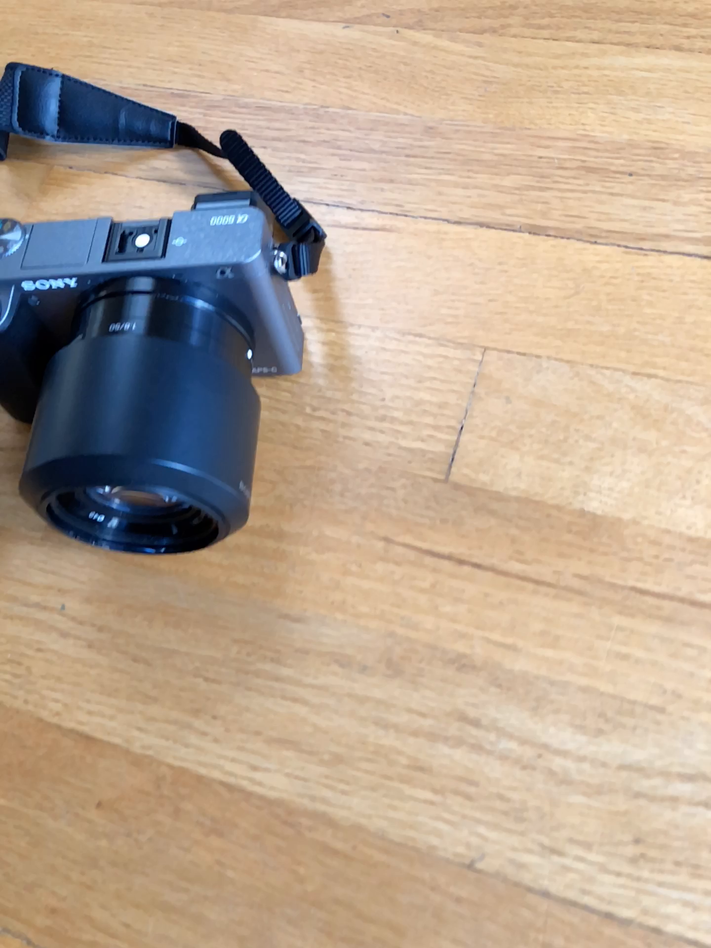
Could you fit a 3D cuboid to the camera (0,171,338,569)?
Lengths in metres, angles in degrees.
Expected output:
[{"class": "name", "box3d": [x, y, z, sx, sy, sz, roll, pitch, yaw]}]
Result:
[{"class": "camera", "box3d": [-0.081, -0.032, 0.265, 0.140, 0.060, 0.110, -2, 65, 8]}]
